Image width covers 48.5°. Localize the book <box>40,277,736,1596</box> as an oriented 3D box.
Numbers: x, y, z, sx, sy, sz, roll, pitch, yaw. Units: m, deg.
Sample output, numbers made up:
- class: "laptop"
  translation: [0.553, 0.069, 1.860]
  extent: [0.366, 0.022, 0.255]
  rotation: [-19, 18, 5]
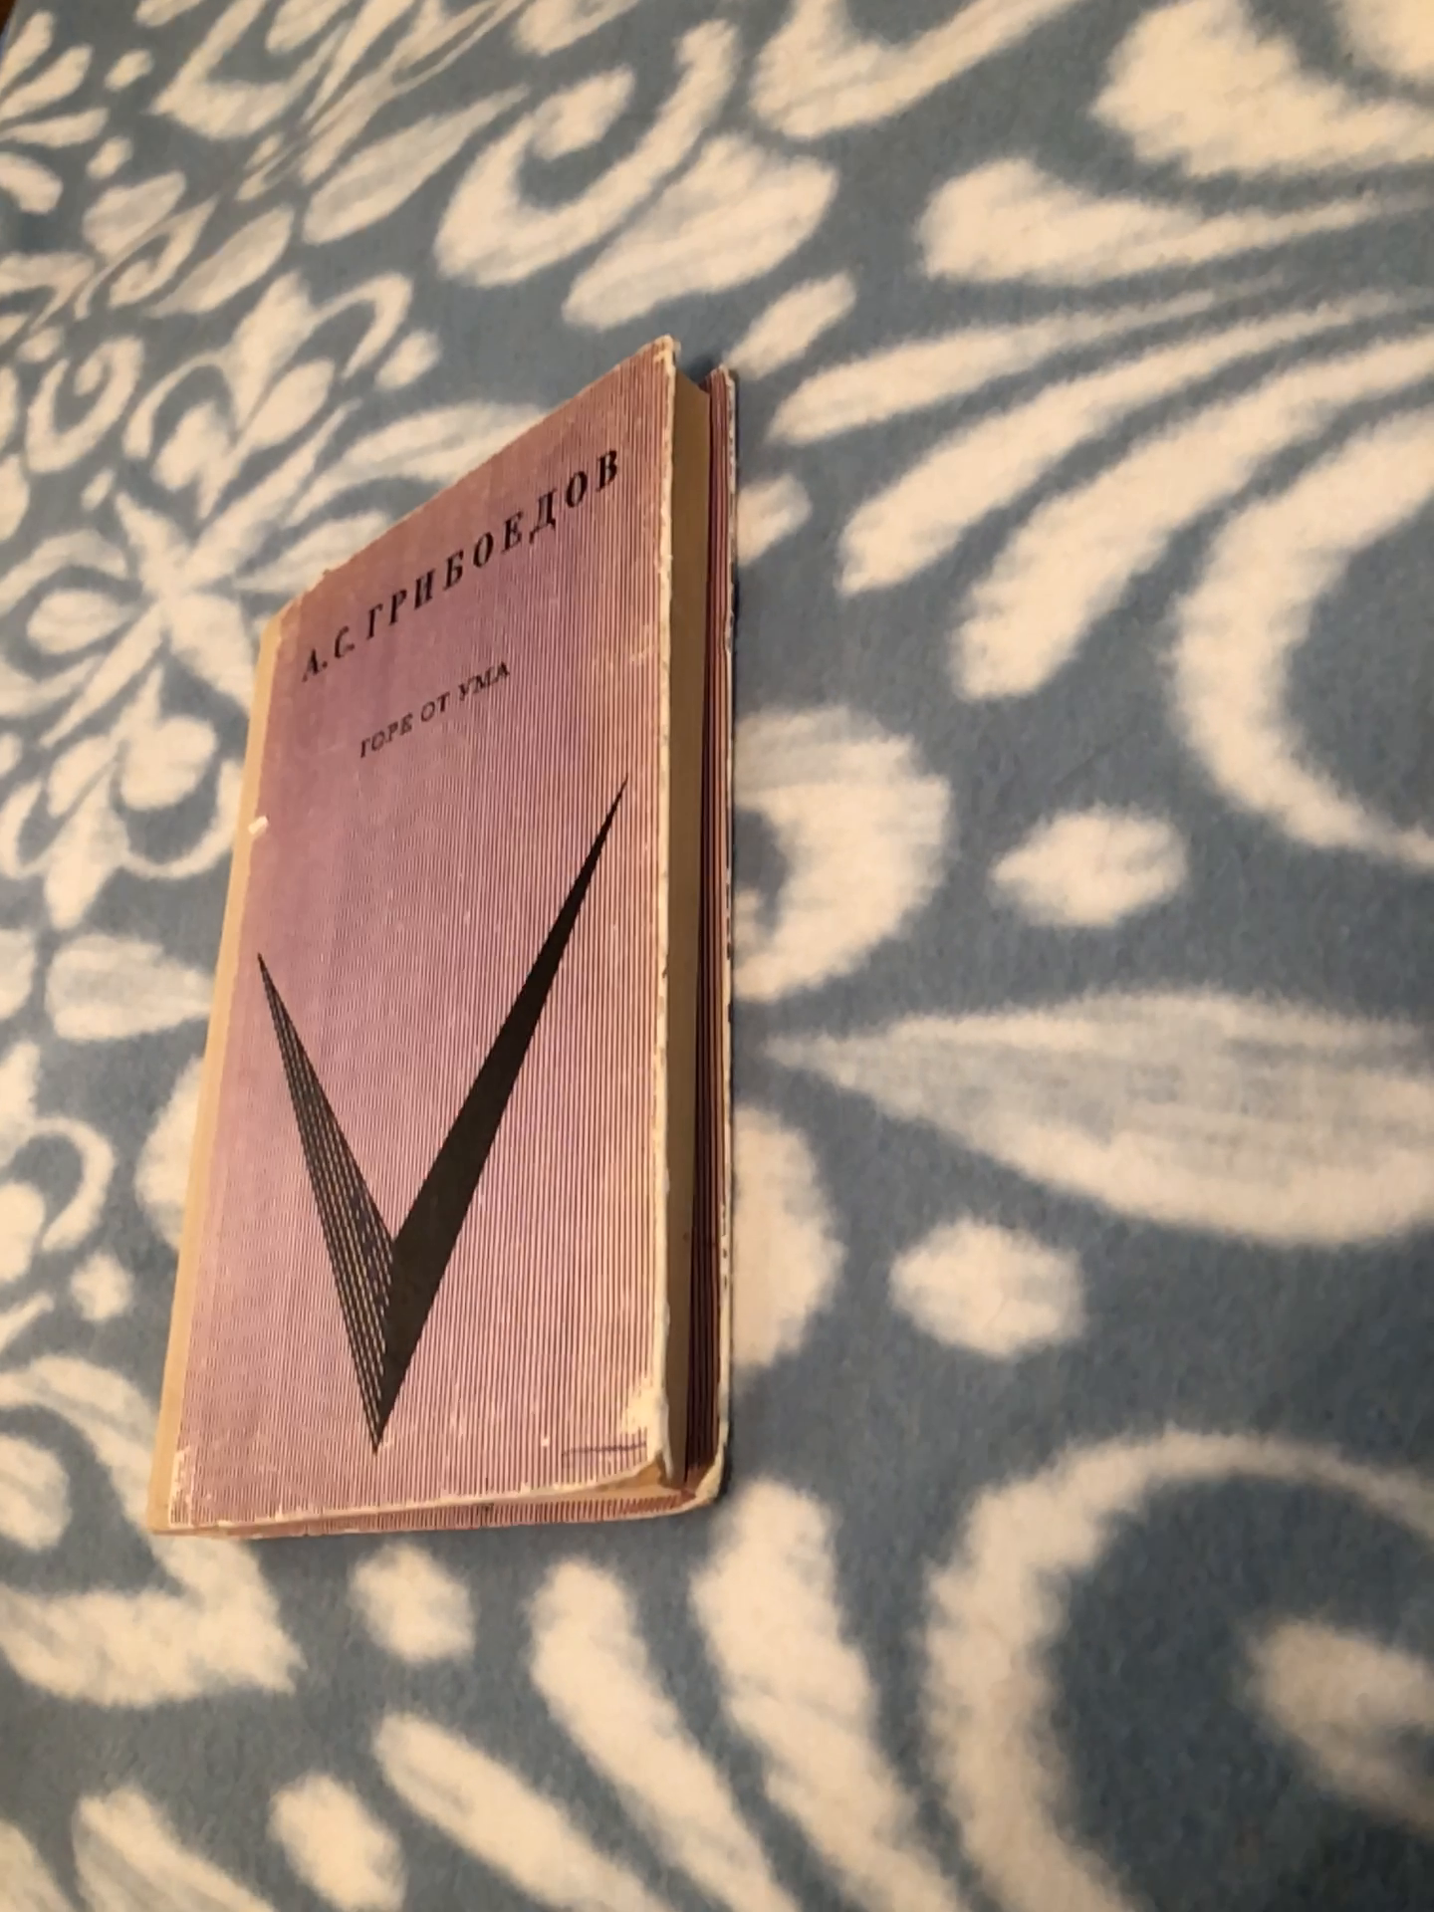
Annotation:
- class: "book"
  translation: [-0.062, 0.002, 0.299]
  extent: [0.158, 0.020, 0.218]
  rotation: [-20, 59, 39]
